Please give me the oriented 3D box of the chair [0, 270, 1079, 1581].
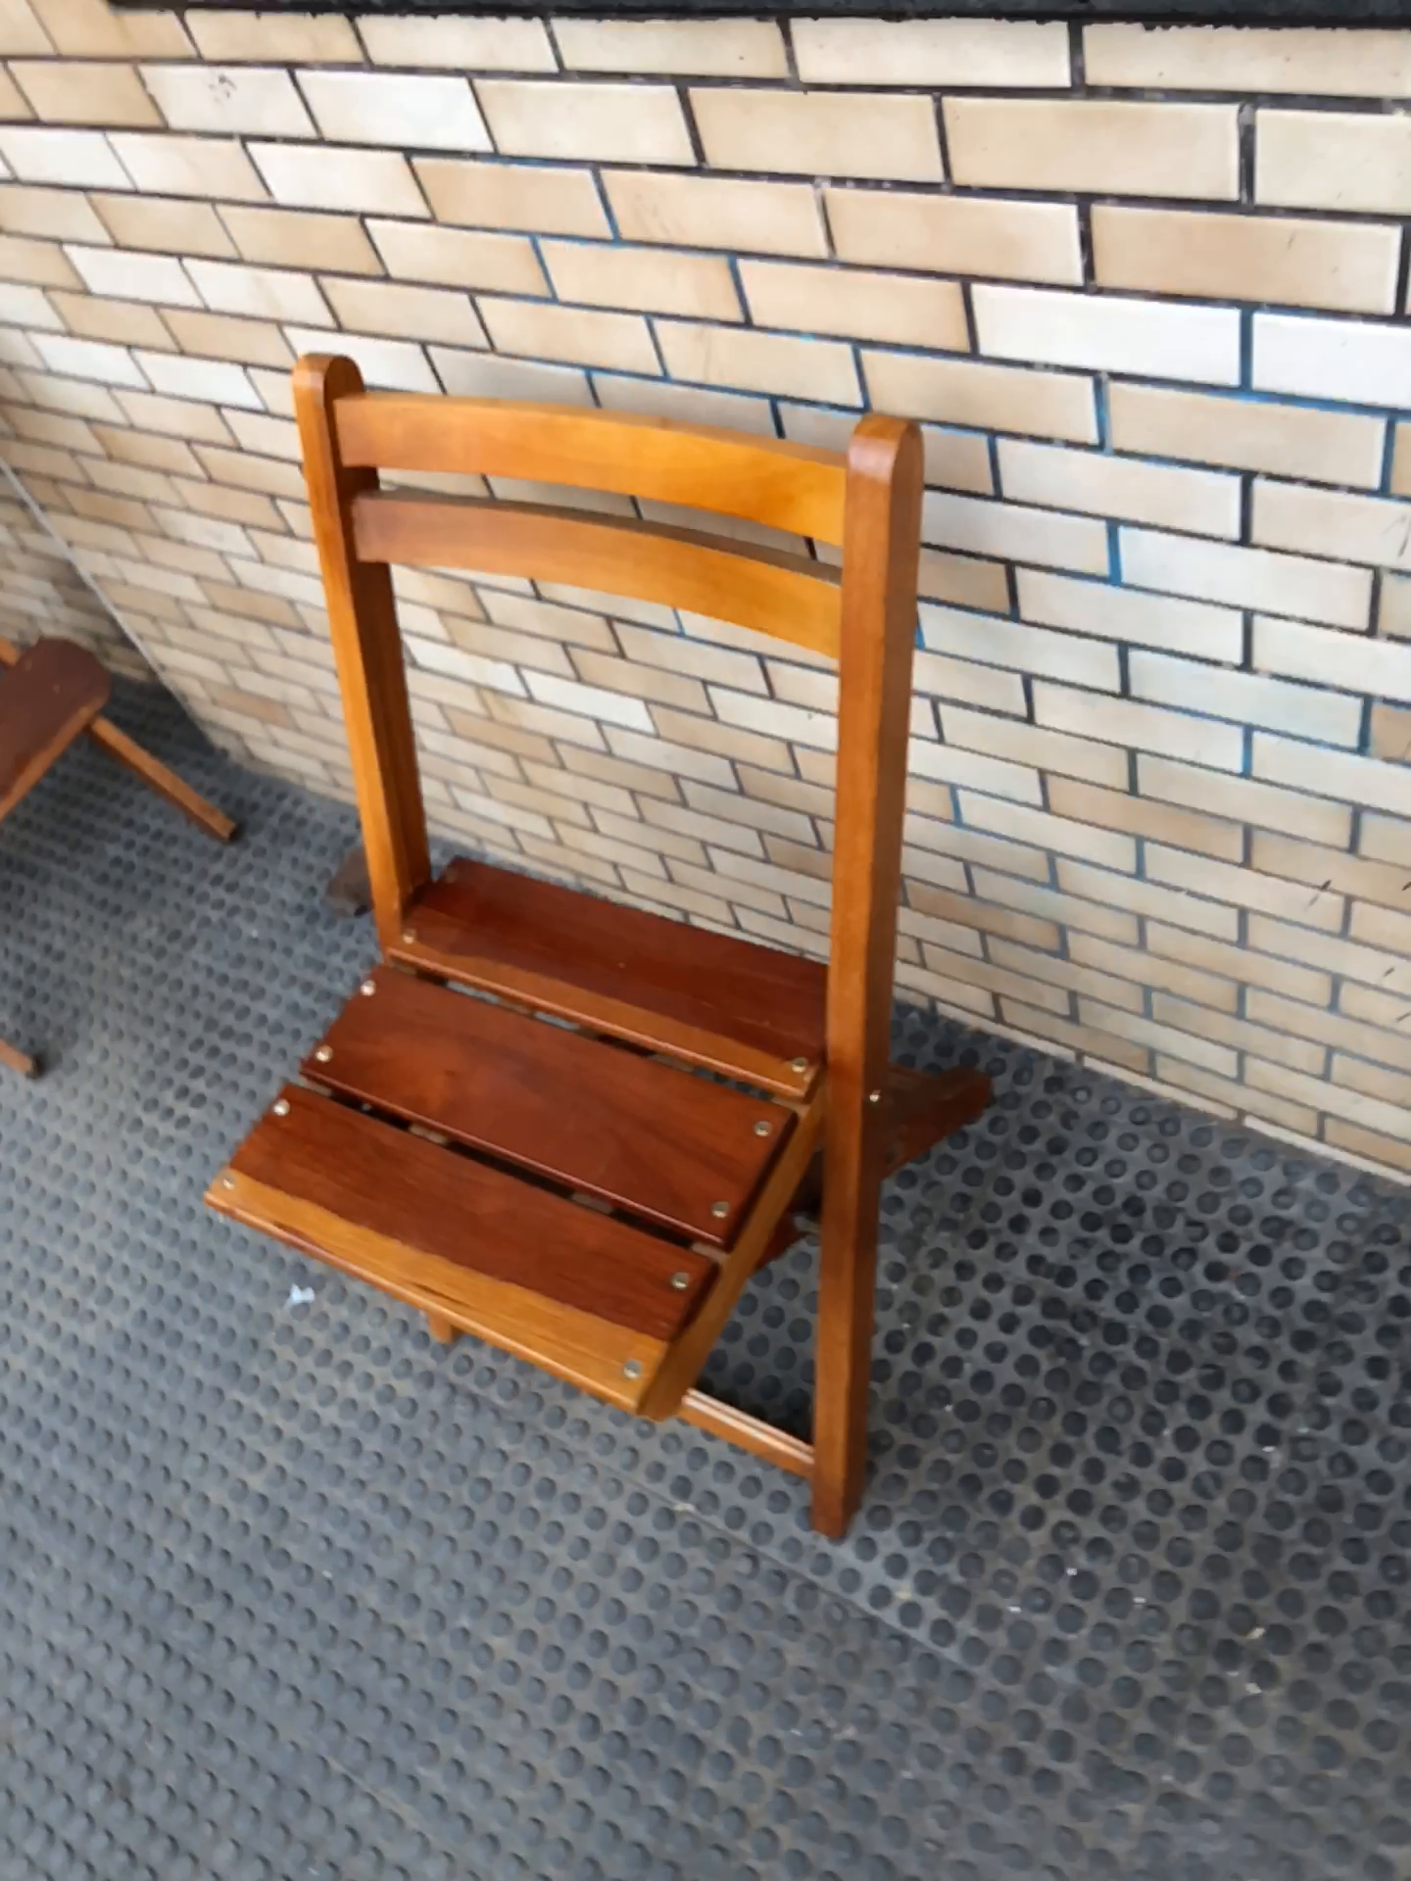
[{"bbox_3d":[-0.065,0.030,1.119,0.471,0.766,0.492,17,62,26],"label":"chair"}]
